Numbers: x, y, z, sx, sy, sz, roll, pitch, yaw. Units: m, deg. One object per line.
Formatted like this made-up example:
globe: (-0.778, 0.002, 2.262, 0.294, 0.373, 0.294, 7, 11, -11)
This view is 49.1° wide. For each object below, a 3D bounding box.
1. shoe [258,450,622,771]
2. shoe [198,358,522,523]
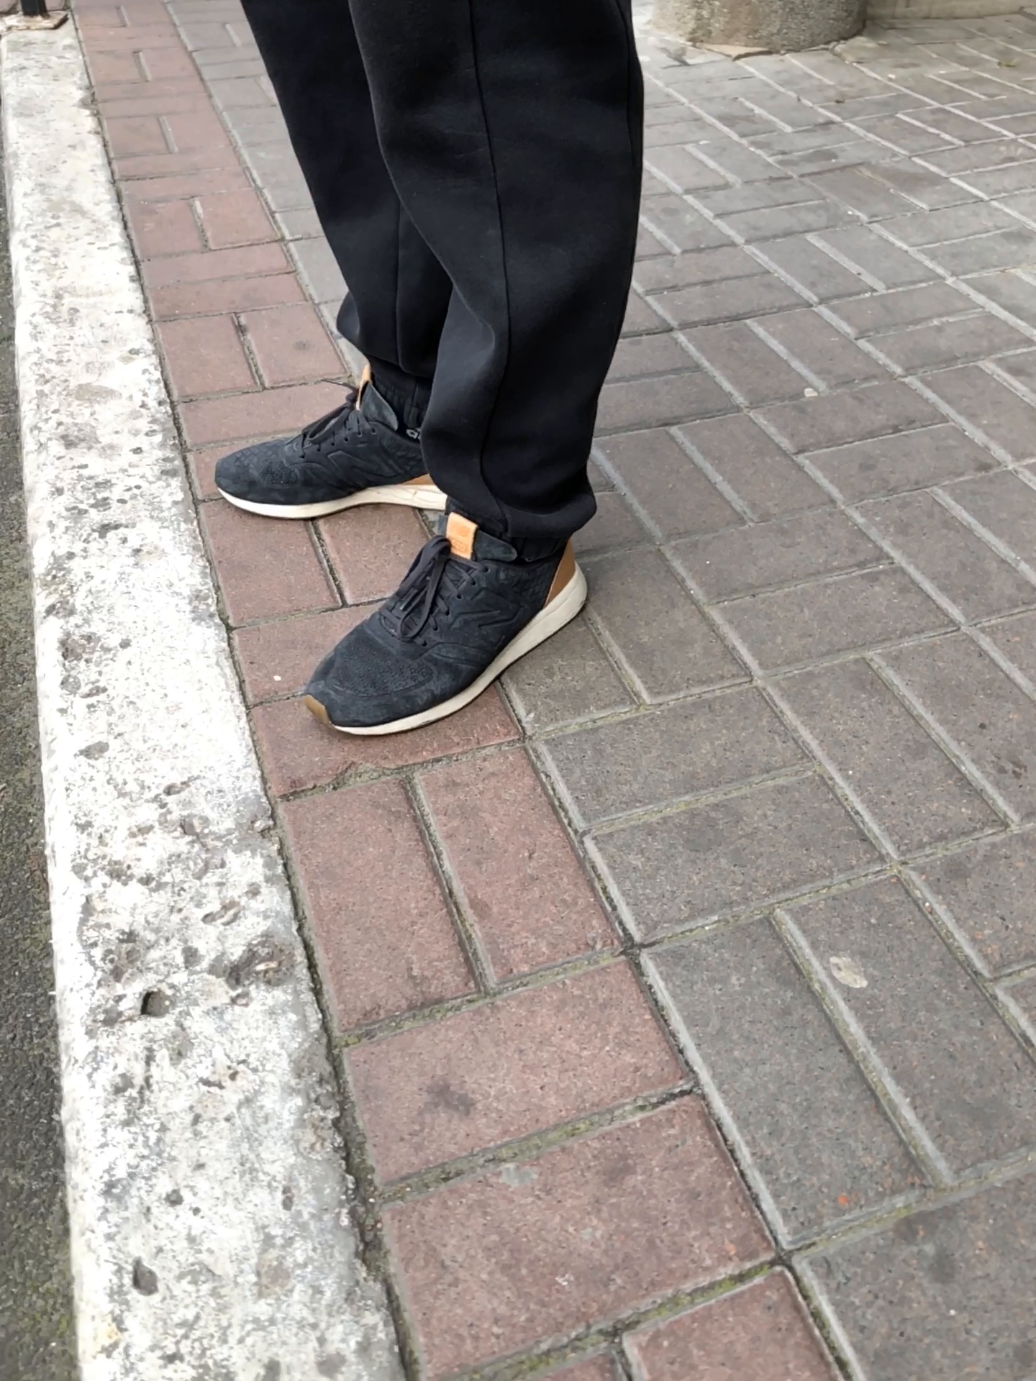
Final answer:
shoe: (-0.053, -0.073, 0.895, 0.104, 0.109, 0.281, 34, 50, 29)
shoe: (-0.143, -0.235, 1.061, 0.280, 0.109, 0.105, -2, 42, -6)
